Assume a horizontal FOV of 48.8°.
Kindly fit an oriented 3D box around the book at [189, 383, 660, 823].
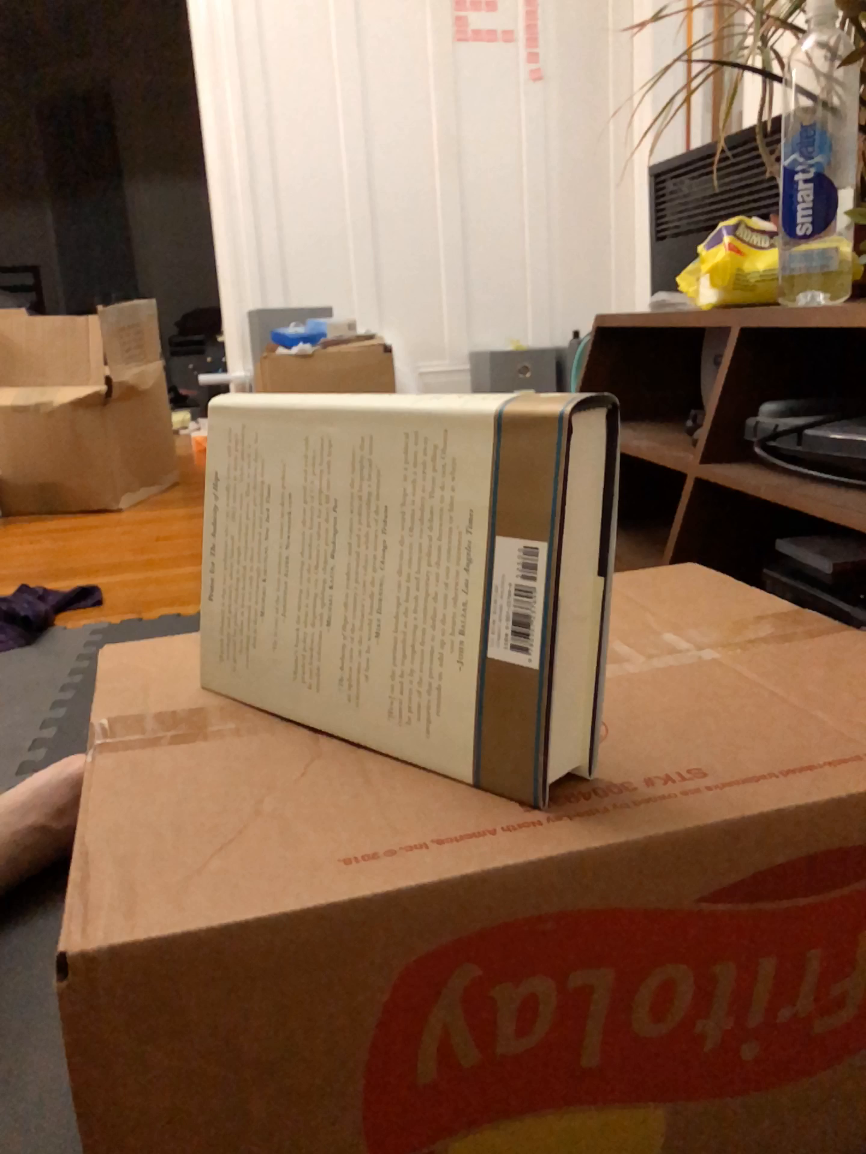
[{"bbox_3d":[-0.022,-0.006,0.477,0.250,0.170,0.060,12,10,42],"label":"book"}]
